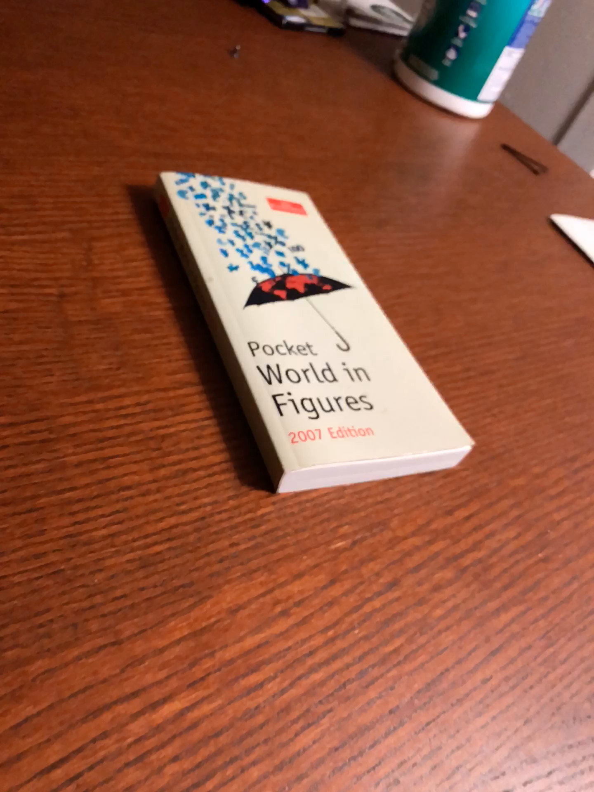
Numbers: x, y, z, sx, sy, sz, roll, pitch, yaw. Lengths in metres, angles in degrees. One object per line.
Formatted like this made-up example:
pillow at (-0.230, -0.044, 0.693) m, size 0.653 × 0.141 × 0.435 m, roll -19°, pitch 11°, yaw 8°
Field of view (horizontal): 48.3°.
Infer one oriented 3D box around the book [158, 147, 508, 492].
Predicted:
book at (0.007, -0.049, 0.328) m, size 0.100 × 0.030 × 0.201 m, roll -2°, pitch 49°, yaw -30°
